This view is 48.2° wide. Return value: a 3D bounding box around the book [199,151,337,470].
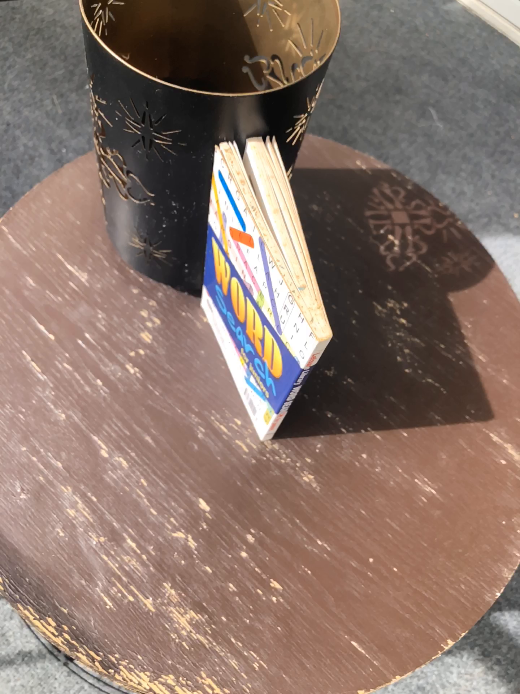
[{"bbox_3d":[-0.007,-0.008,0.361,0.031,0.180,0.124,-11,67,-12],"label":"book"}]
